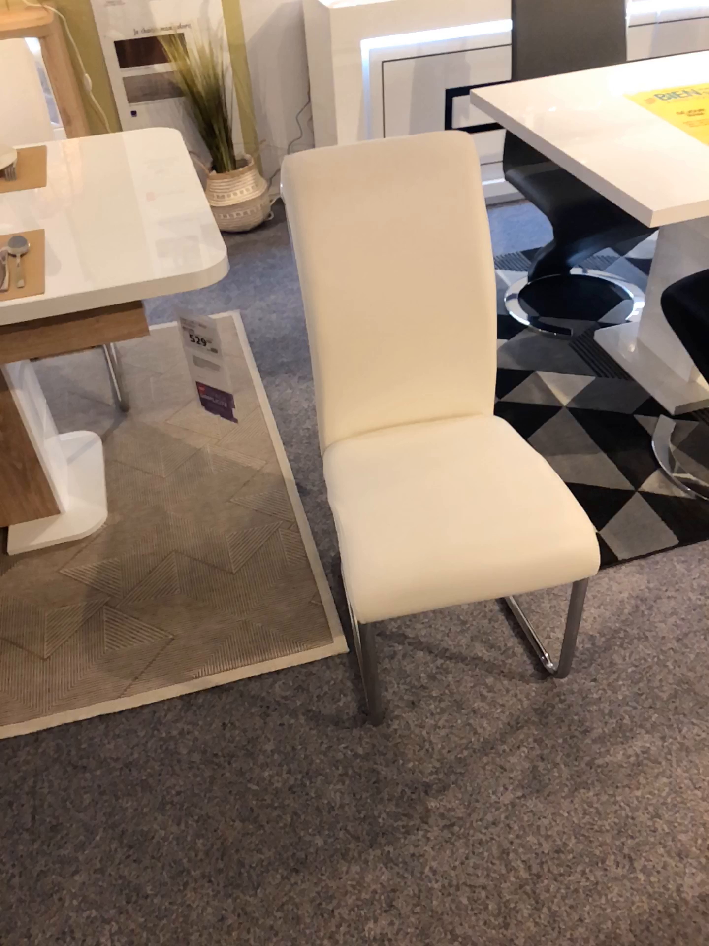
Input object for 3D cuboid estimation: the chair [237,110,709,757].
[{"bbox_3d":[0.153,-0.050,1.389,0.501,0.925,0.552,-13,41,-10],"label":"chair"}]
